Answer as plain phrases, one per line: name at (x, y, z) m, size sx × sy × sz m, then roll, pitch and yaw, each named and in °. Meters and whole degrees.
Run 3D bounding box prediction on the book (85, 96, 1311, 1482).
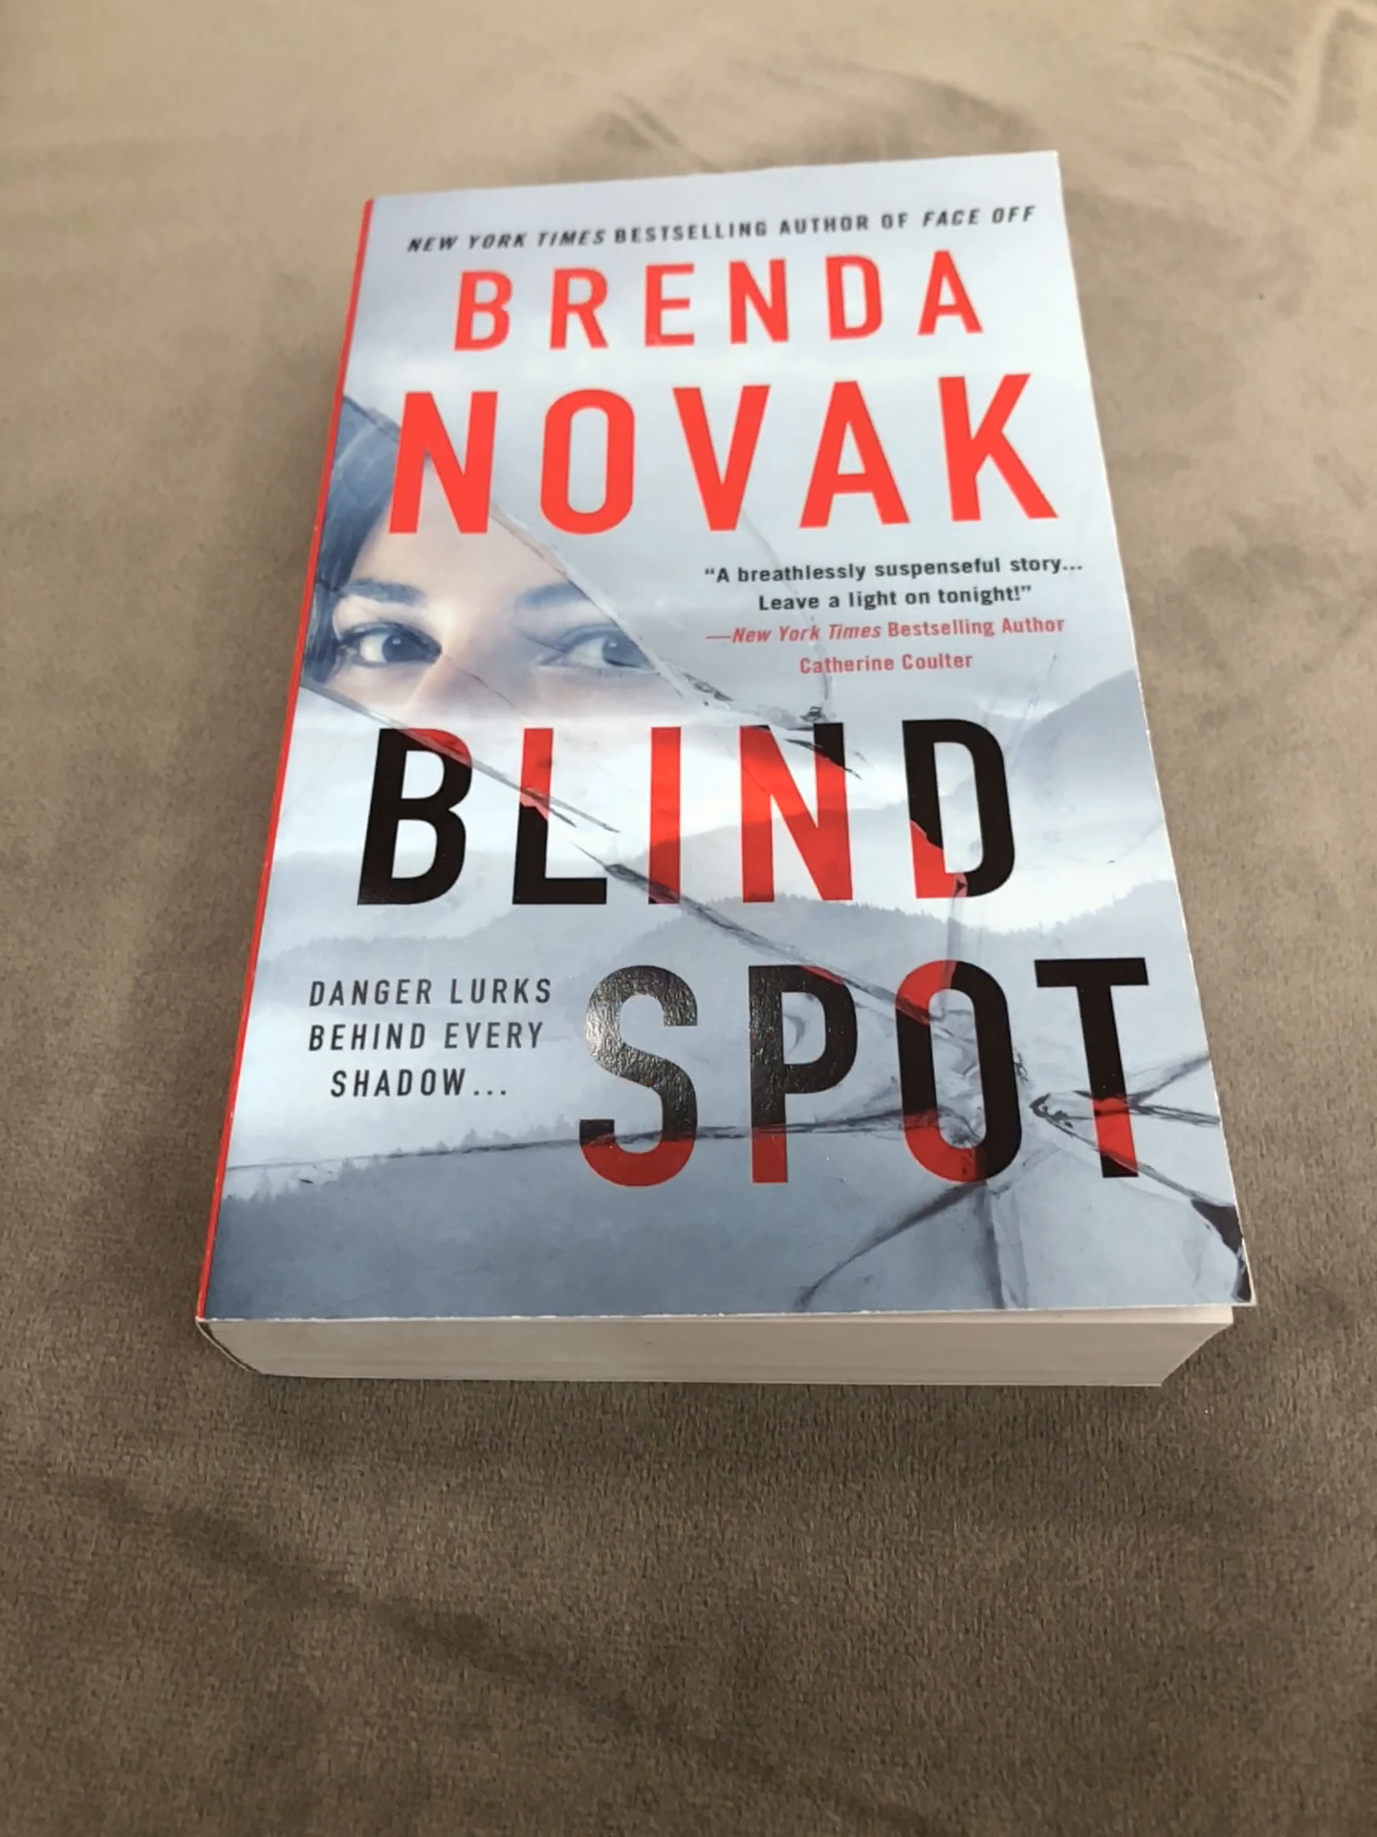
book at (0.001, -0.026, 0.217) m, size 0.120 × 0.050 × 0.191 m, roll -4°, pitch 61°, yaw 6°
